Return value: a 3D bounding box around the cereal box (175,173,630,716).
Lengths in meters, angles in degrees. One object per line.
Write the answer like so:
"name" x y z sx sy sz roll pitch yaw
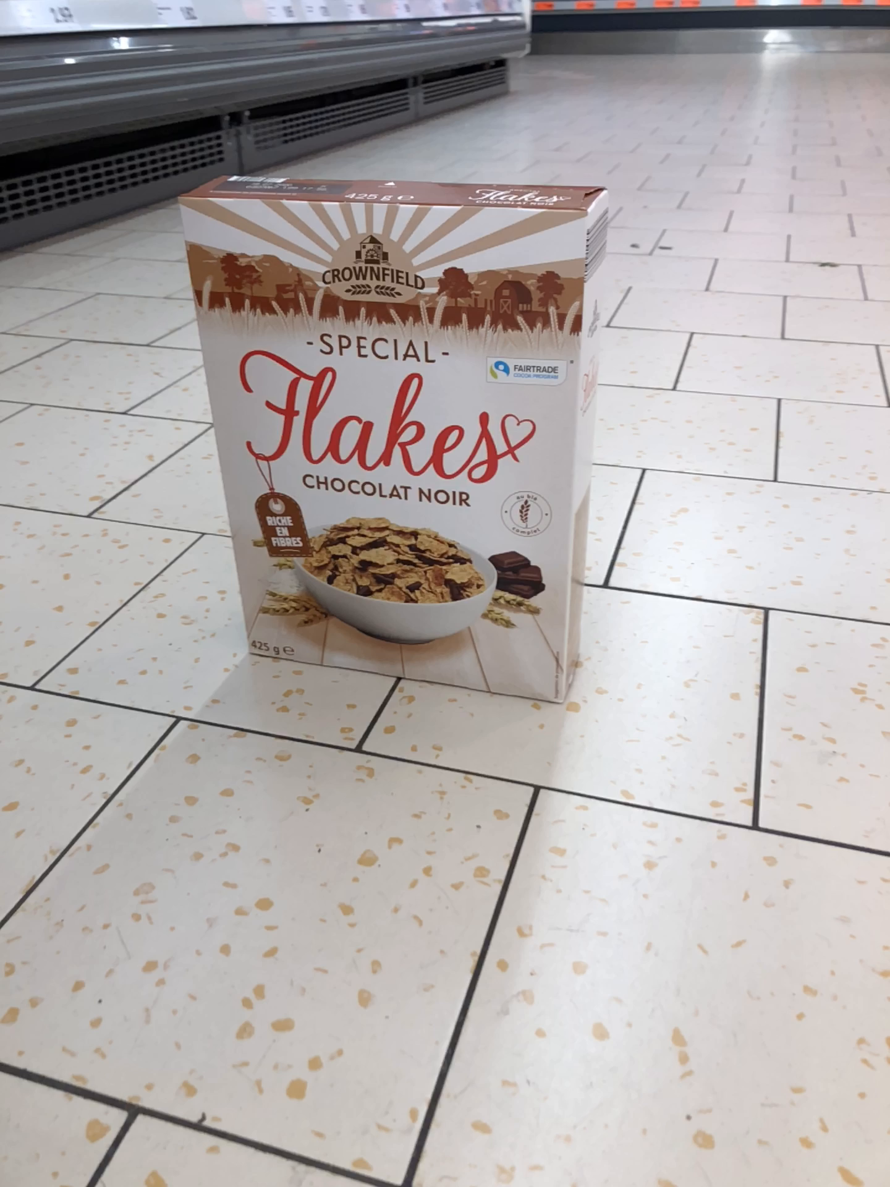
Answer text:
"cereal box" -0.017 -0.077 0.517 0.200 0.259 0.070 8 31 16
